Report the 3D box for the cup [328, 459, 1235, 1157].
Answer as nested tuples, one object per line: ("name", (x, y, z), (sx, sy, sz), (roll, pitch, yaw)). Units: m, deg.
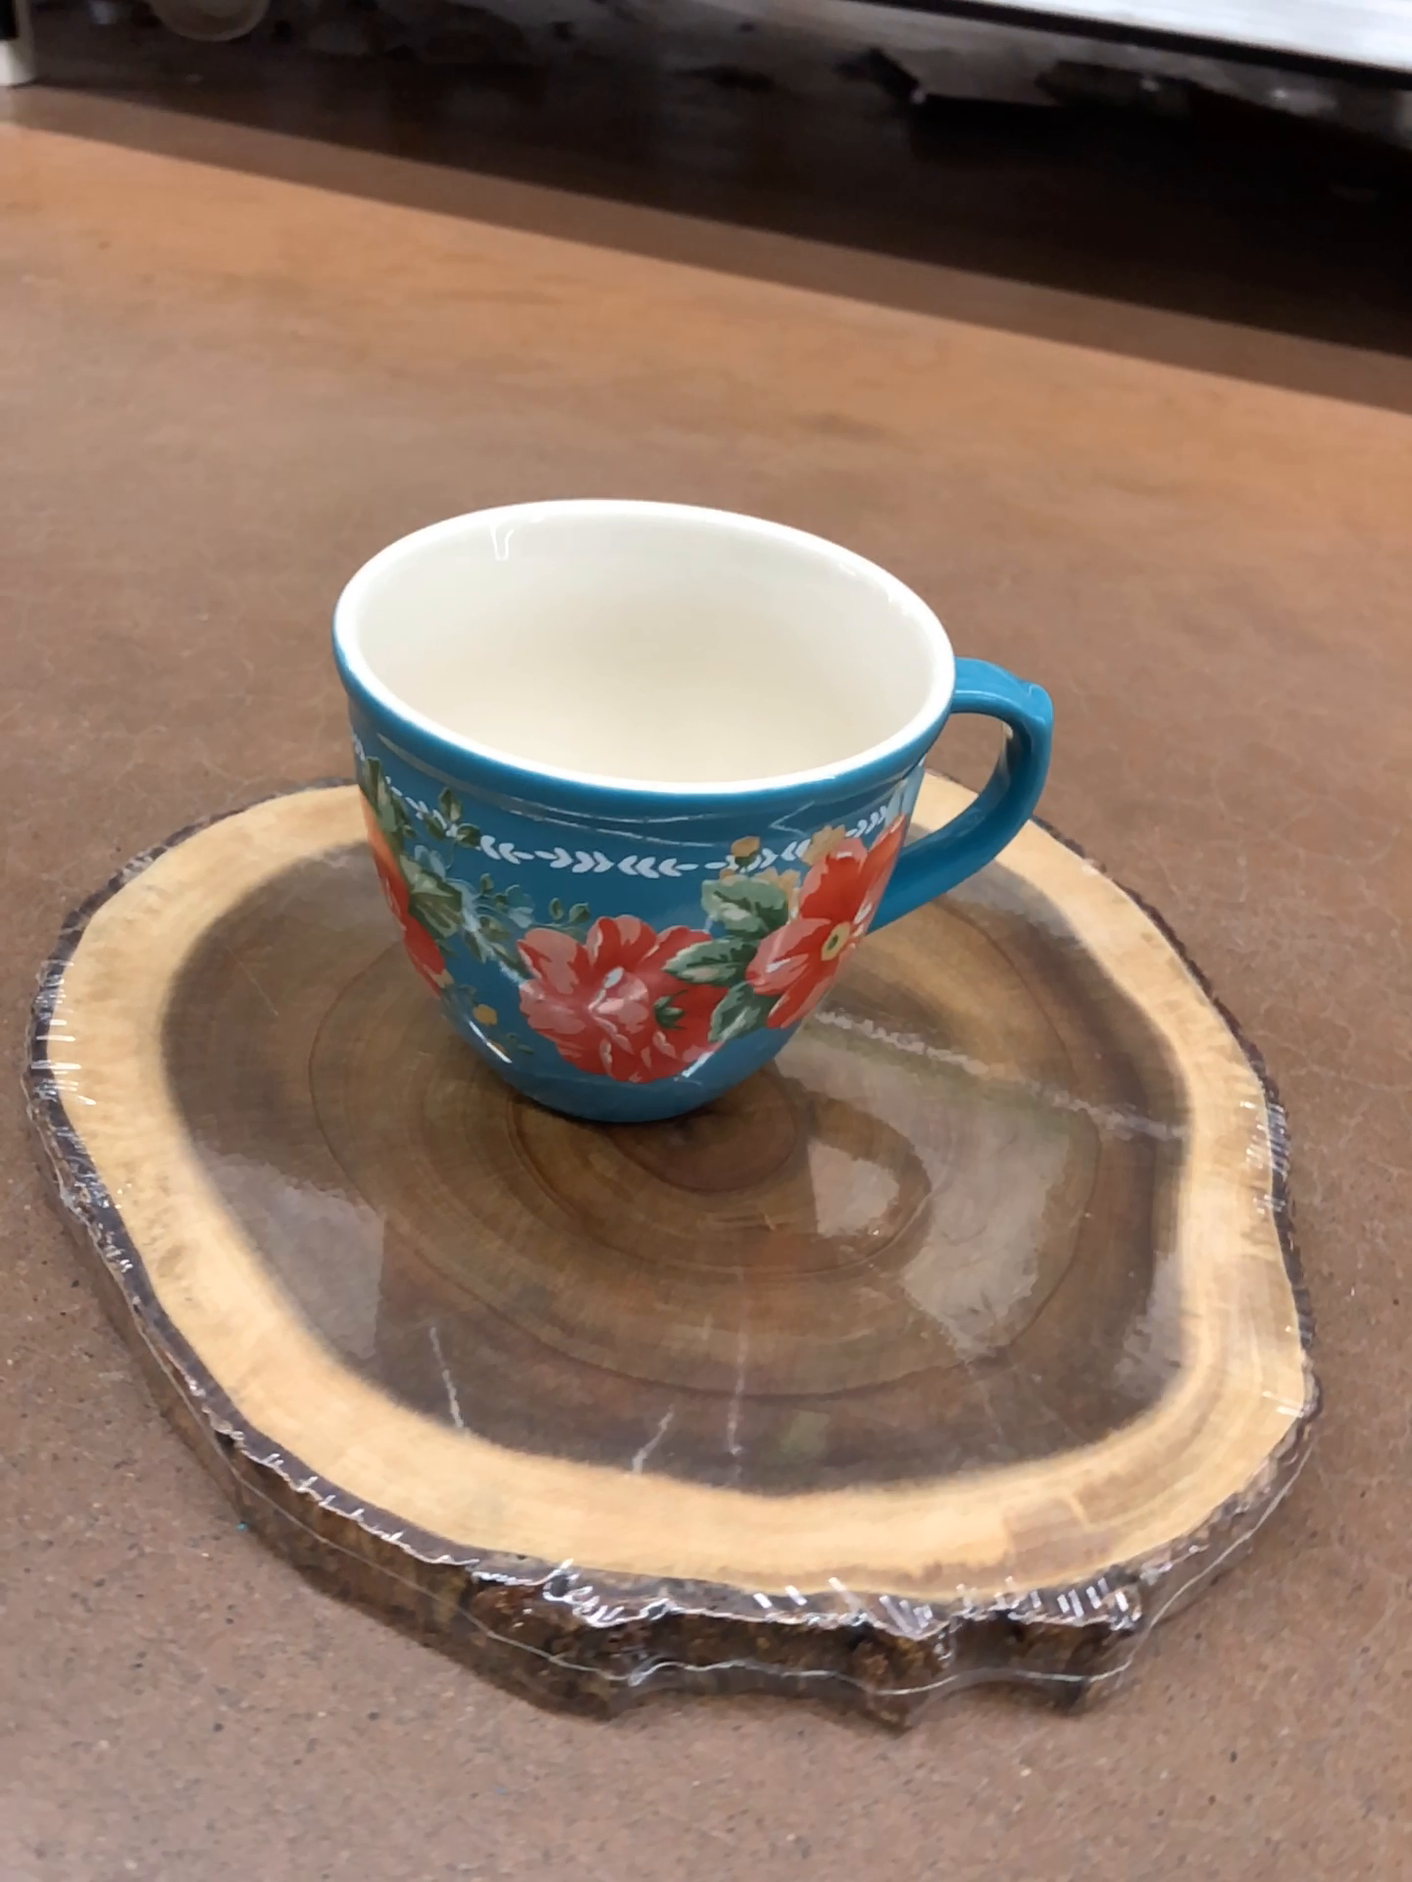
("cup", (0.006, -0.026, 0.287), (0.130, 0.080, 0.100), (2, 38, -6))
